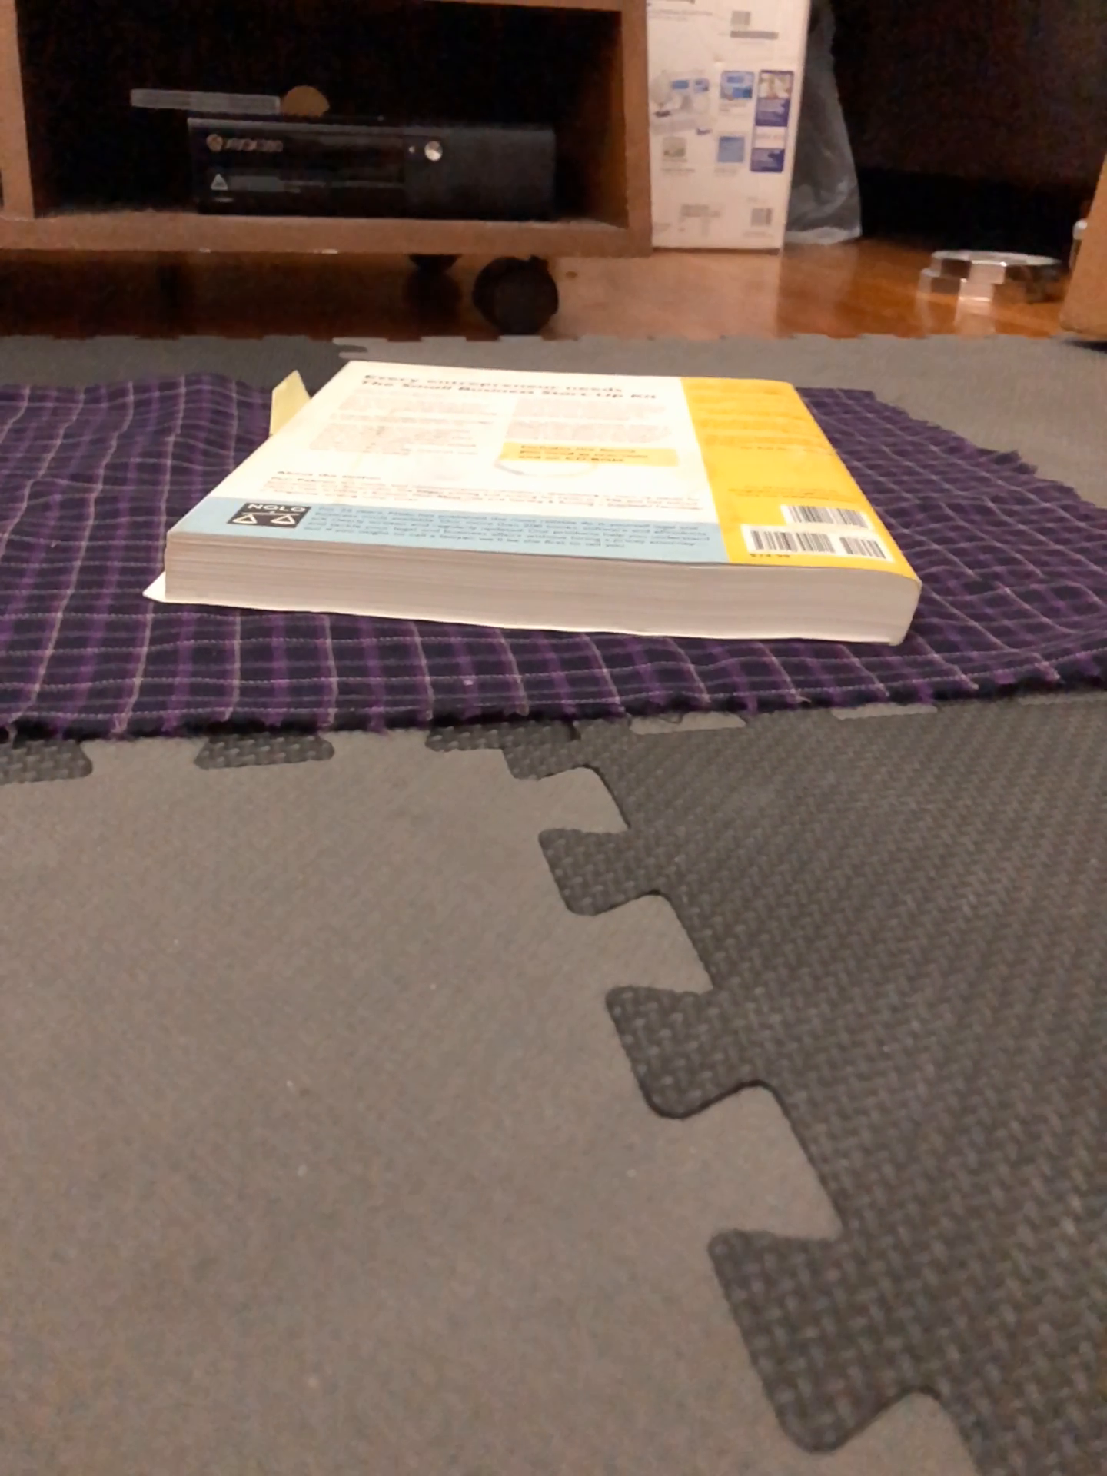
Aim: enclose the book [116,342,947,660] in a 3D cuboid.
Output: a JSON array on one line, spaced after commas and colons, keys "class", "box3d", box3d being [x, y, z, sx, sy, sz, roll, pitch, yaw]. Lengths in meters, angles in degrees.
[{"class": "book", "box3d": [0.000, -0.111, 0.484, 0.230, 0.030, 0.312, 4, 26, 1]}]
